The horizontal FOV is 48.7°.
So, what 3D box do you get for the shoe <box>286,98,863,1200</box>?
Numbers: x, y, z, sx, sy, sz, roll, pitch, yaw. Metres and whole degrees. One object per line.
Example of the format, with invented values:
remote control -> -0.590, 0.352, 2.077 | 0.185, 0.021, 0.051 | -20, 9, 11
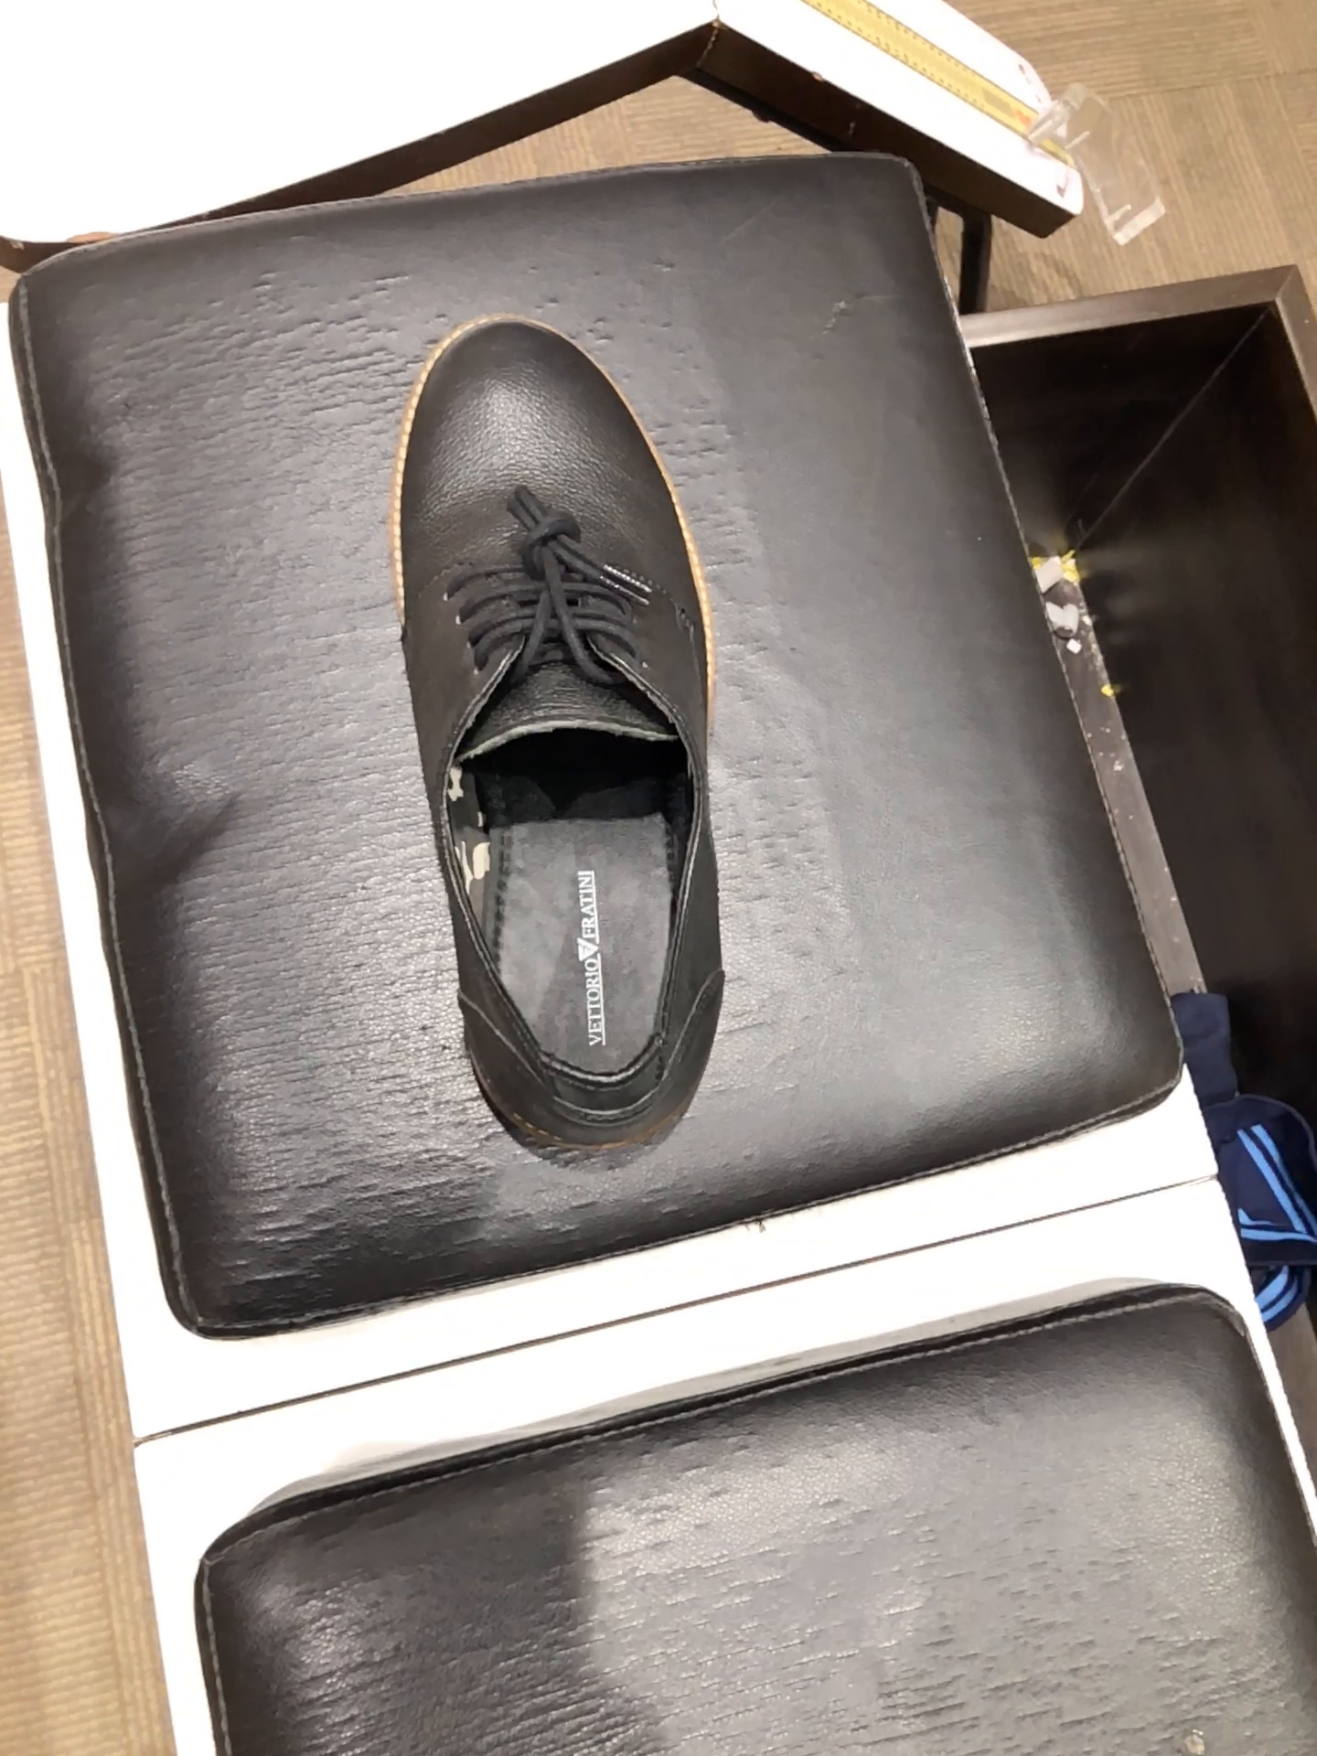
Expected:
shoe -> -0.031, -0.064, 0.422 | 0.110, 0.100, 0.290 | -7, 76, -6
